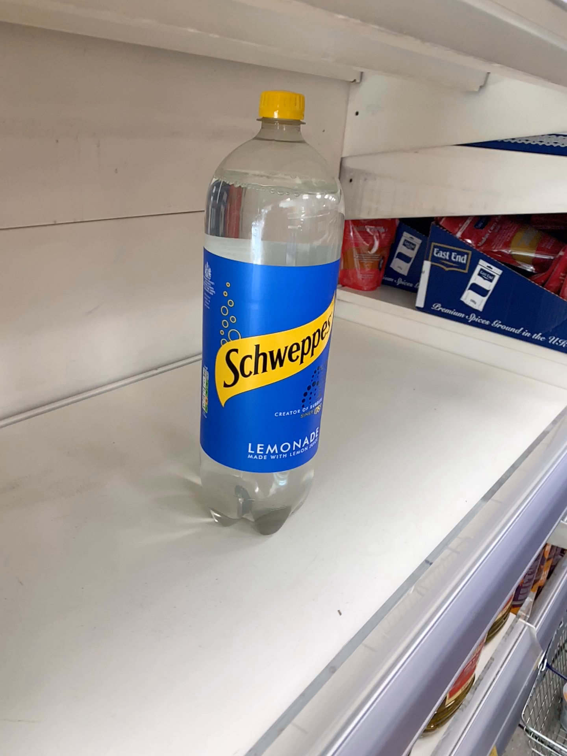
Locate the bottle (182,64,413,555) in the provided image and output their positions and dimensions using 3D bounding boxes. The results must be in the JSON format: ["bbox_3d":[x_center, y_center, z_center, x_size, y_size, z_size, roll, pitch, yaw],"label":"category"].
[{"bbox_3d":[-0.008,-0.043,0.437,0.110,0.327,0.111,5,24,-2],"label":"bottle"}]
